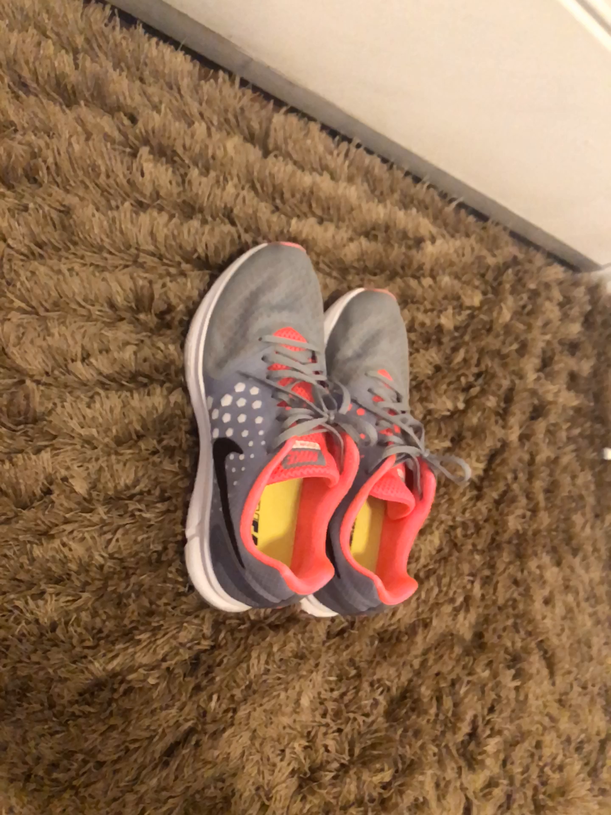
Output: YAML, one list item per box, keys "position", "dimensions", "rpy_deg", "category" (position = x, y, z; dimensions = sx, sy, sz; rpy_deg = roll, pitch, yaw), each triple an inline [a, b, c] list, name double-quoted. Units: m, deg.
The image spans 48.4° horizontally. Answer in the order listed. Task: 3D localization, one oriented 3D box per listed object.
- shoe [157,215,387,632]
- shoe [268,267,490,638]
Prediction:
- position: [-0.023, 0.019, 0.513]
  dimensions: [0.114, 0.121, 0.270]
  rpy_deg: [11, 75, -38]
  category: "shoe"
- position: [0.066, 0.044, 0.571]
  dimensions: [0.119, 0.118, 0.270]
  rpy_deg: [17, 71, -37]
  category: "shoe"
